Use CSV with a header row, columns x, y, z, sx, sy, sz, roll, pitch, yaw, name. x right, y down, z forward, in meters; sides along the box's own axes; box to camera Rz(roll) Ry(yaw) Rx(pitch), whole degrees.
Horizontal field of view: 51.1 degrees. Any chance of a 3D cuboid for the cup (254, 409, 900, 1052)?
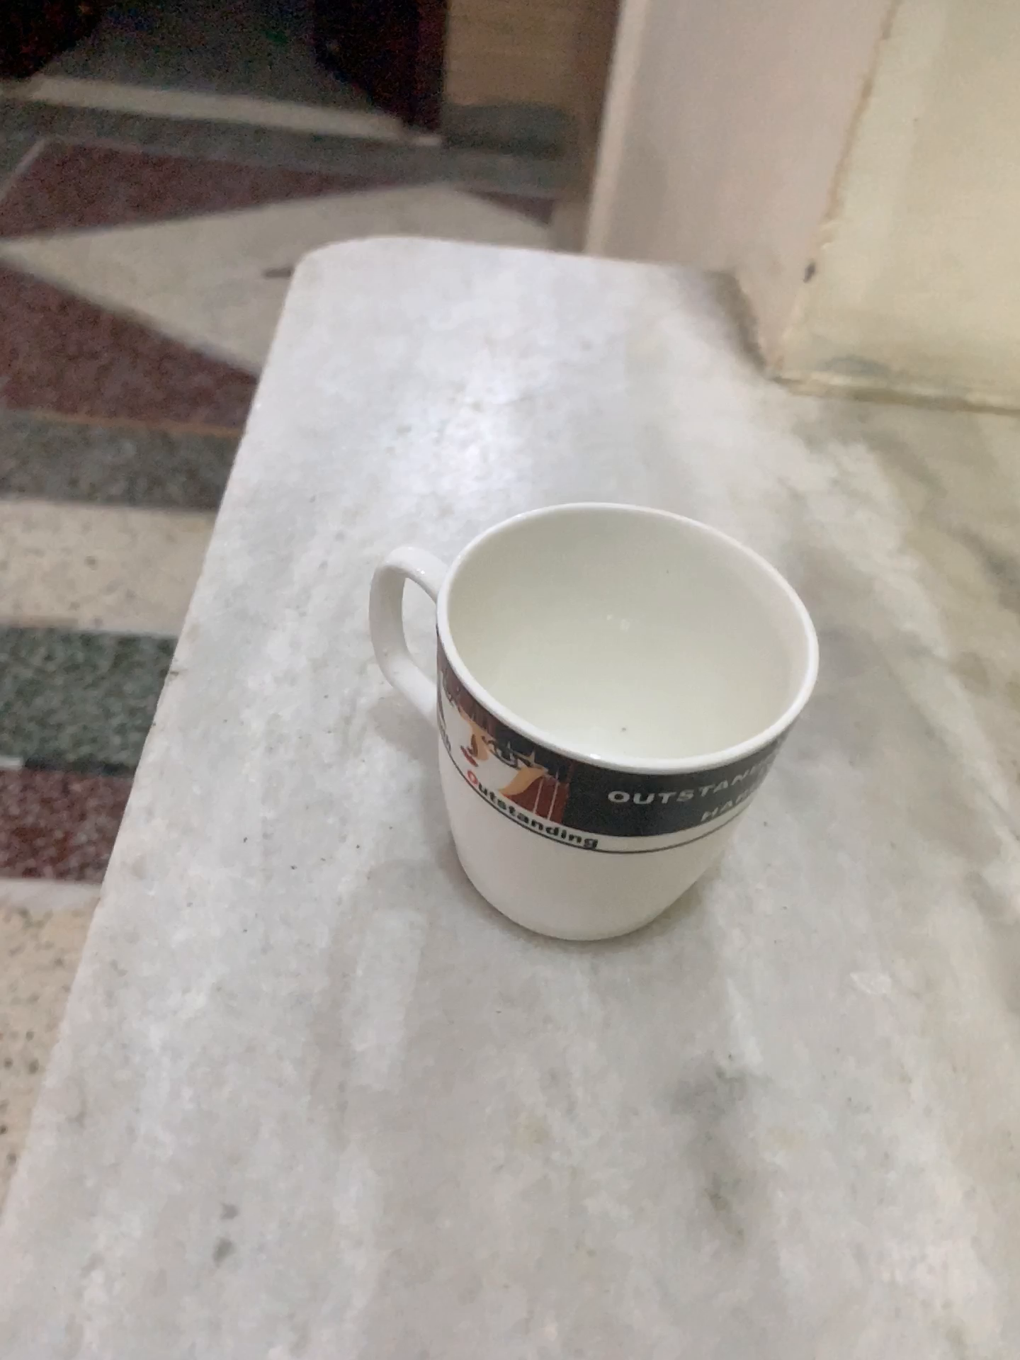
x,y,z,sx,sy,sz,roll,pitch,yaw,name
0.009,0.005,0.208,0.090,0.060,0.070,35,51,23,cup
